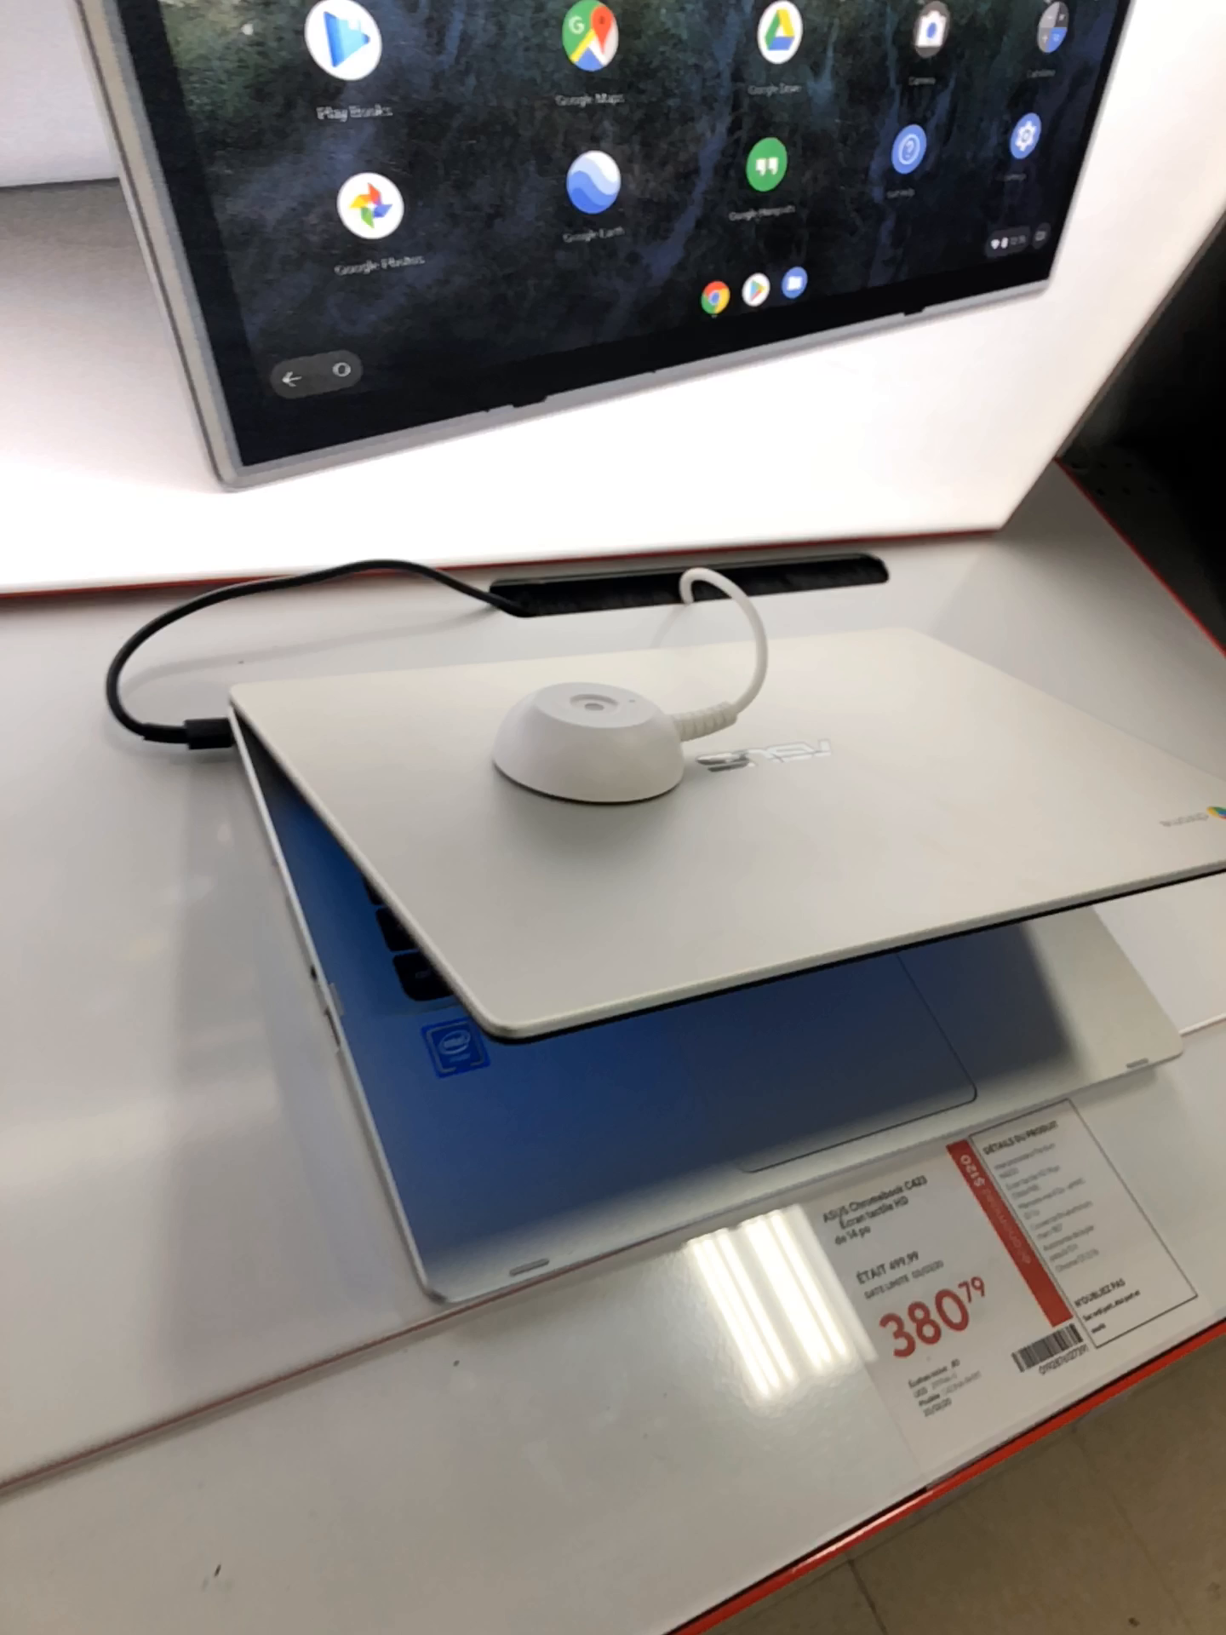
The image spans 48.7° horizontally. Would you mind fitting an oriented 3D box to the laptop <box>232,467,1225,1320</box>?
[{"bbox_3d":[0.063,-0.006,0.460,0.318,0.101,0.225,-9,55,-30],"label":"laptop"}]
